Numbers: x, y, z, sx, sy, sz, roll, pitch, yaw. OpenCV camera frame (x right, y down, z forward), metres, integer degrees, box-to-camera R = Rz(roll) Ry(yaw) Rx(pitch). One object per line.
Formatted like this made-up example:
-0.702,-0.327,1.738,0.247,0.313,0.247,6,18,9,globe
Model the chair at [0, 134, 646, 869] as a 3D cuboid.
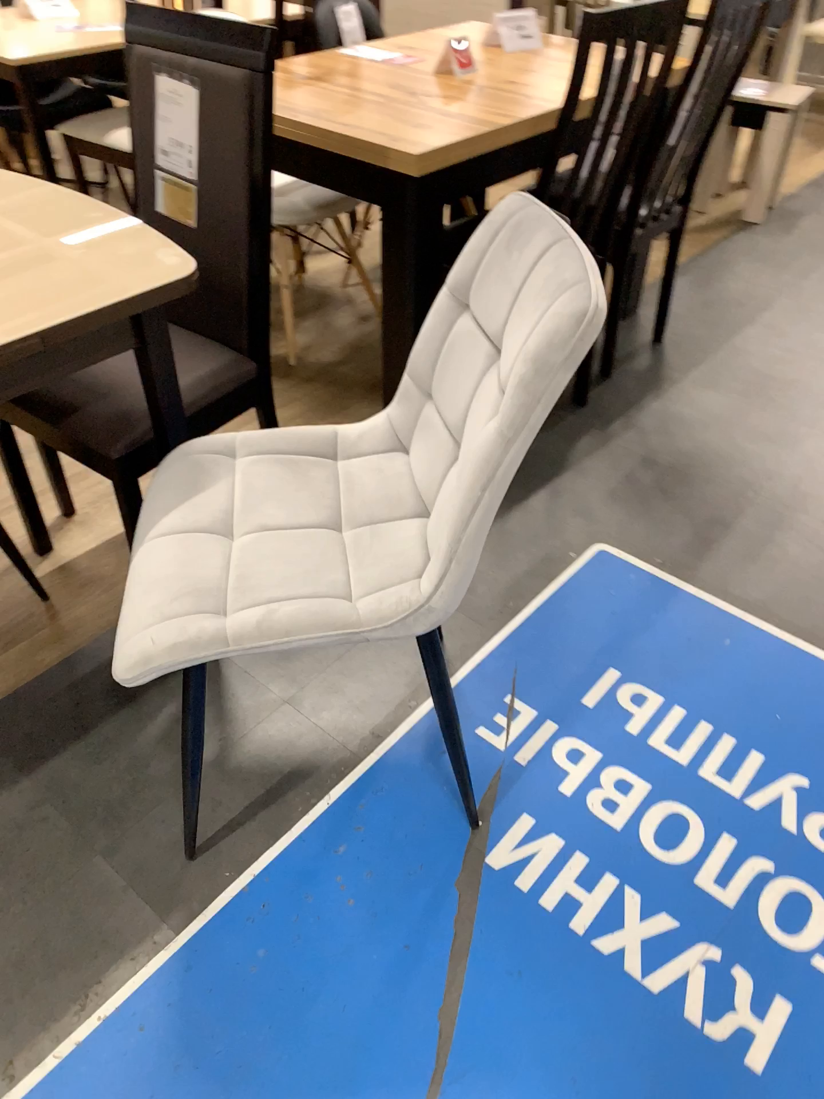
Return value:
-0.111,-0.023,1.264,0.600,0.974,0.483,-4,41,-5,chair
